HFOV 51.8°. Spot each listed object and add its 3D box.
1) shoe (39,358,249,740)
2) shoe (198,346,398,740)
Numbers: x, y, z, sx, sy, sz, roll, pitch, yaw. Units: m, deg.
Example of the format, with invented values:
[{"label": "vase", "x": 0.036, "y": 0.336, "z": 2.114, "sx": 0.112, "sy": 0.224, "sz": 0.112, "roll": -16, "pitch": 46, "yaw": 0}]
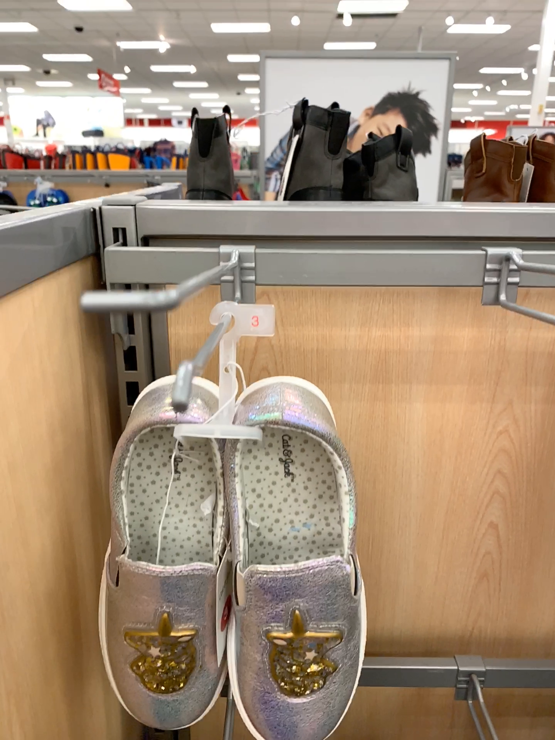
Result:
[{"label": "shoe", "x": -0.070, "y": 0.114, "z": 0.366, "sx": 0.100, "sy": 0.221, "sz": 0.113, "roll": -1, "pitch": 15, "yaw": -3}, {"label": "shoe", "x": 0.007, "y": 0.106, "z": 0.368, "sx": 0.100, "sy": 0.221, "sz": 0.113, "roll": -1, "pitch": 15, "yaw": -3}]
